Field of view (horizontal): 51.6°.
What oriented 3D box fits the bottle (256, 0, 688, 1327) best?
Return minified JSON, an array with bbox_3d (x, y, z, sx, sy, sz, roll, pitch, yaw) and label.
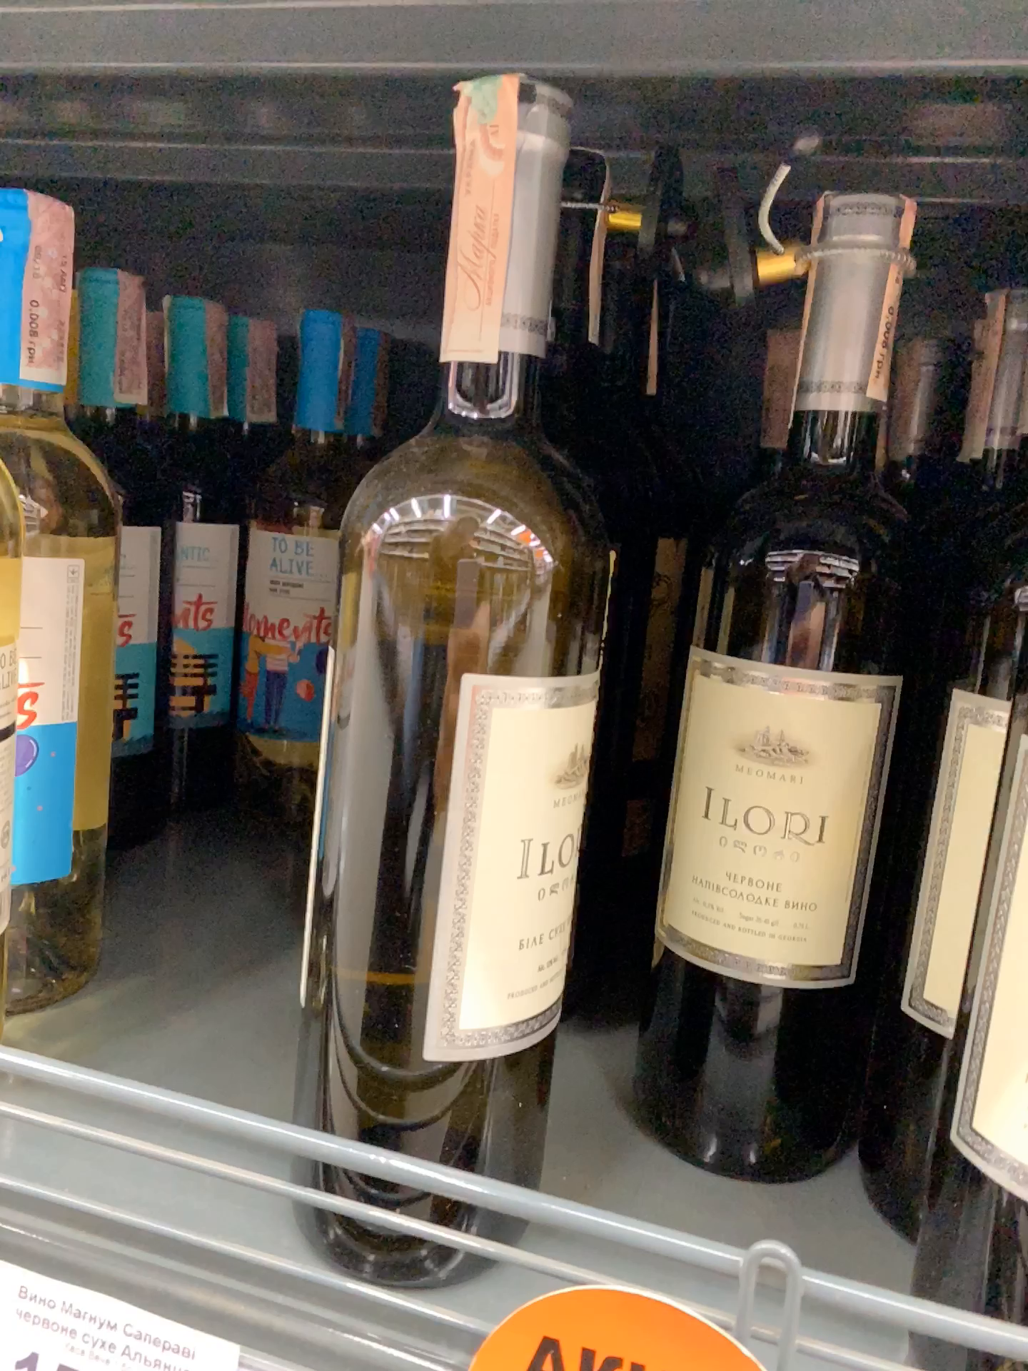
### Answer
[{"bbox_3d":[-0.013,0.000,0.292,0.069,0.319,0.070,5,11,-1],"label":"bottle"}]
